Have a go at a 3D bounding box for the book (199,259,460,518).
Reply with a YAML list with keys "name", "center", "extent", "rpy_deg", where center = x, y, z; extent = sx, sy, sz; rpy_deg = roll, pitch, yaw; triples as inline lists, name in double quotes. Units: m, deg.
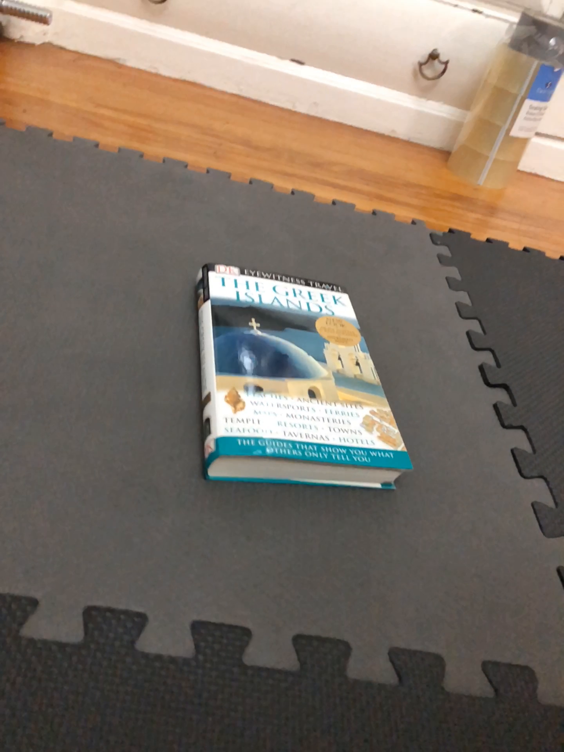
- name: "book"
  center: [0.020, -0.004, 0.476]
  extent: [0.160, 0.030, 0.241]
  rpy_deg: [6, 39, -14]
